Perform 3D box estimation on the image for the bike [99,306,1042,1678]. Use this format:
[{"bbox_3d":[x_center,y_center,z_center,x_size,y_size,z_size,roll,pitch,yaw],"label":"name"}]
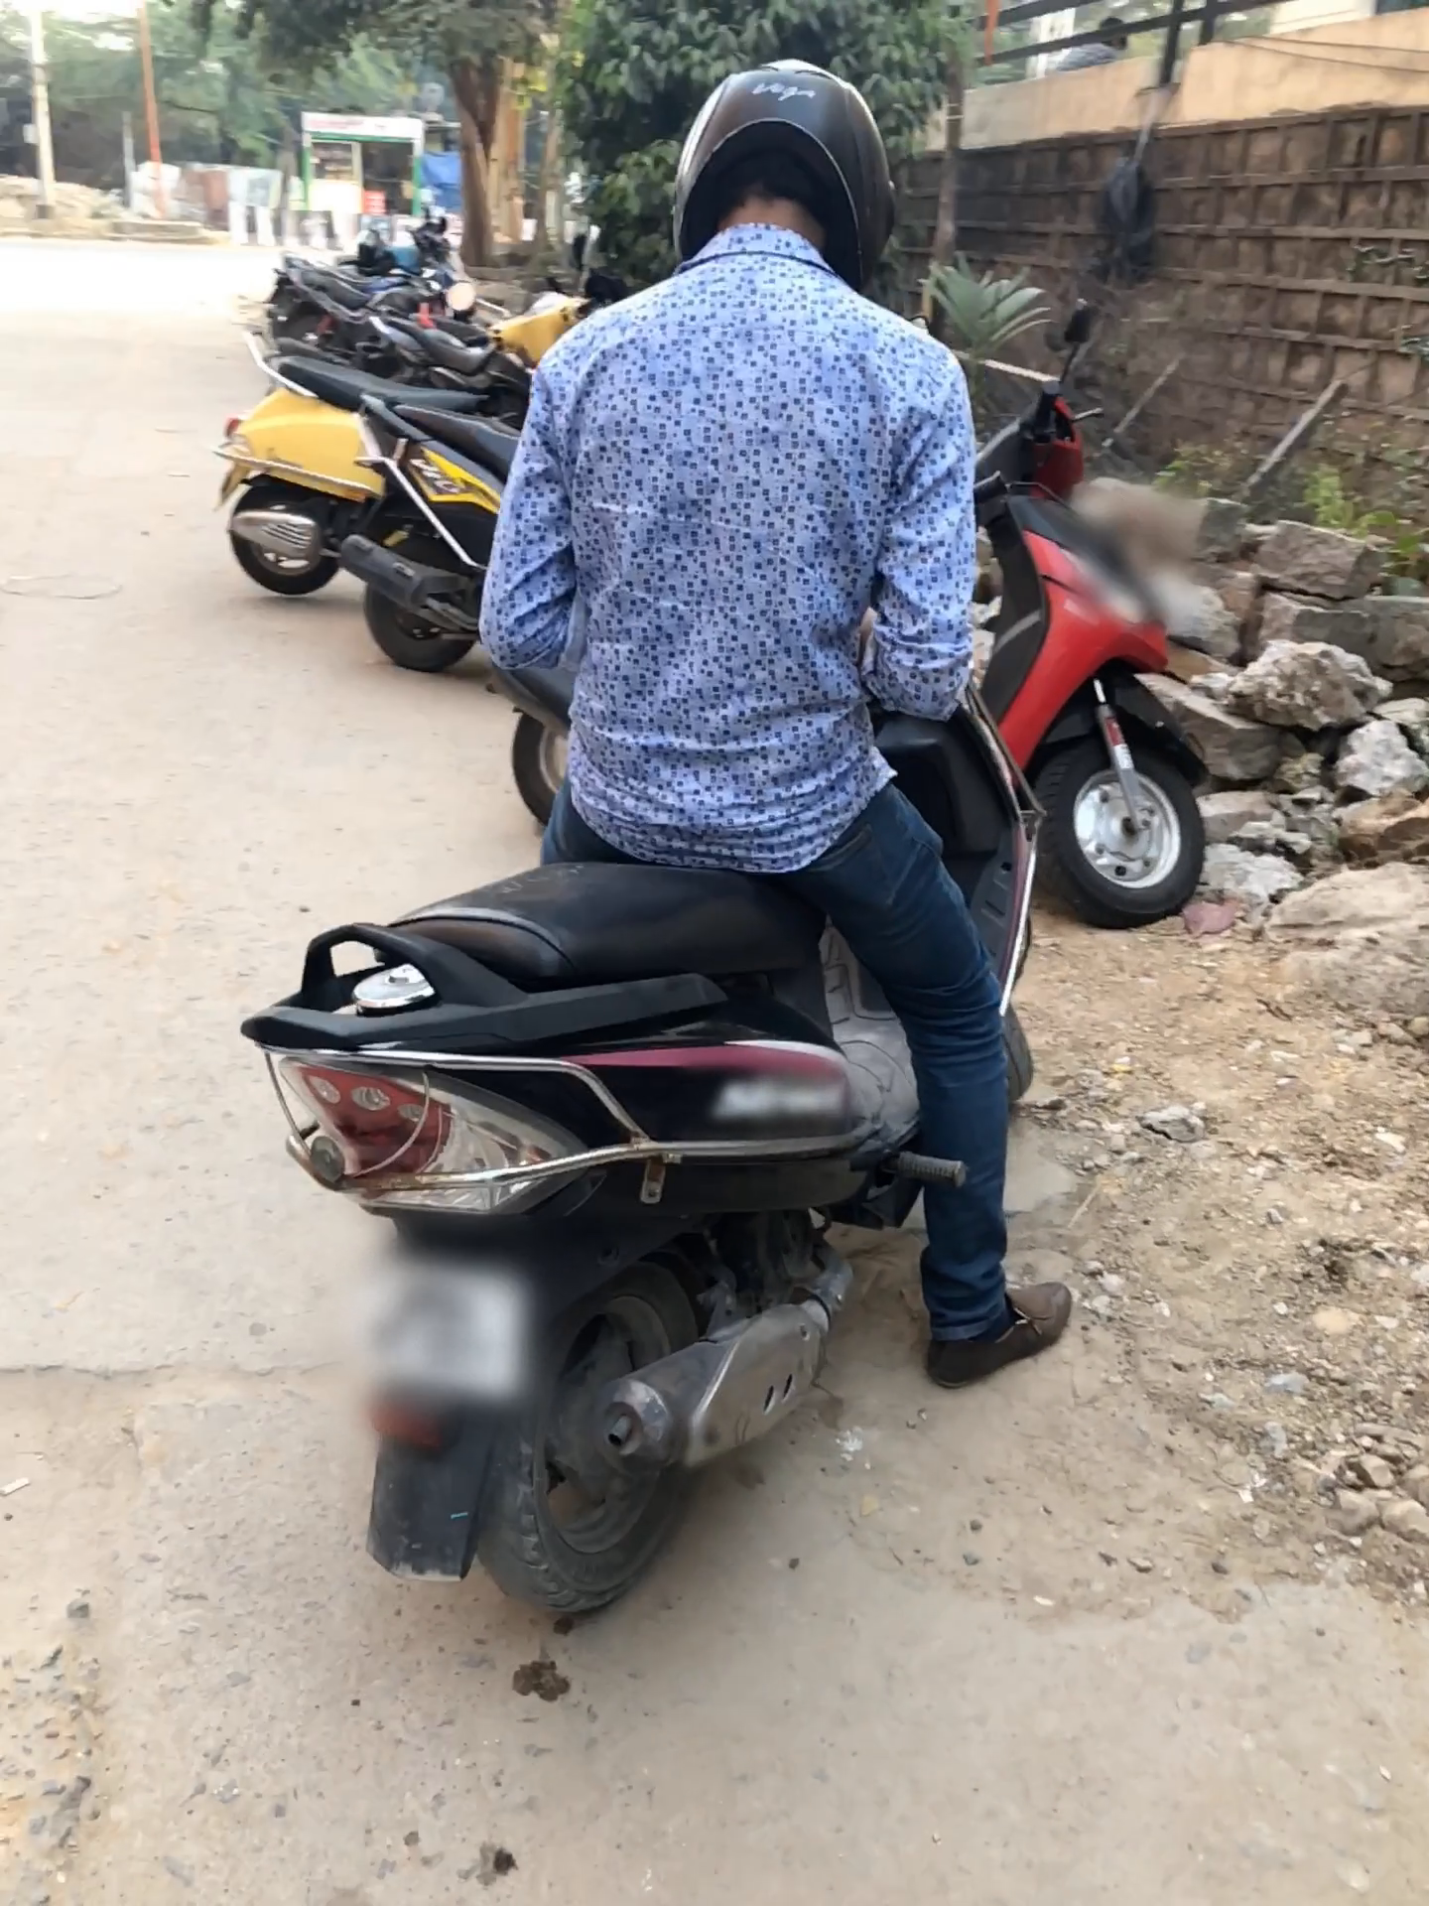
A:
[{"bbox_3d":[-0.054,-0.168,2.056,0.559,1.054,1.481,12,29,17],"label":"bike"}]
